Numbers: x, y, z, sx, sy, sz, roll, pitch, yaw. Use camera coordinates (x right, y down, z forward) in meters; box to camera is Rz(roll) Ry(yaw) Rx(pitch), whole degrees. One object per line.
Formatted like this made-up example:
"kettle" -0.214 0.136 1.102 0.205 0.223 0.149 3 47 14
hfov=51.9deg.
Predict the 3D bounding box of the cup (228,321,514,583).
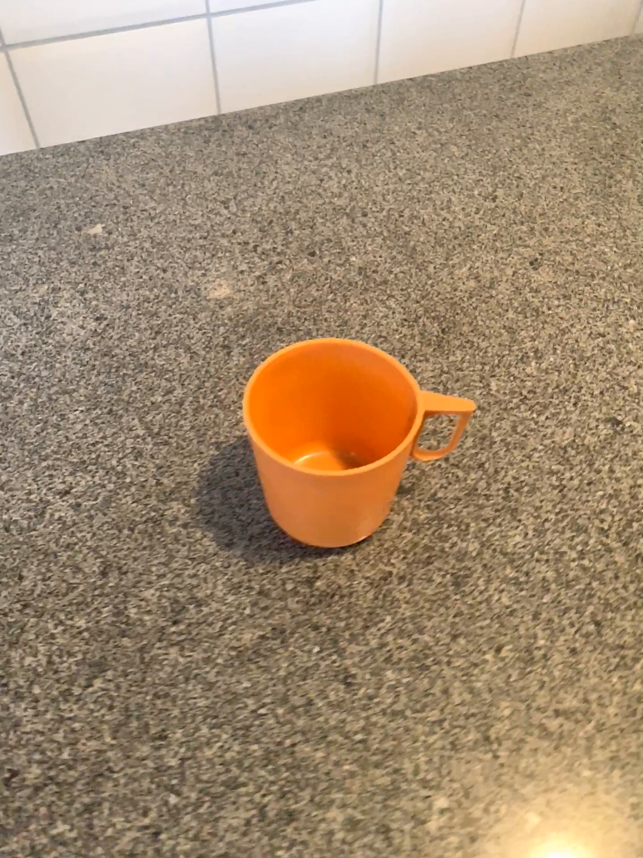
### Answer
"cup" 0.021 0.012 0.315 0.110 0.090 0.080 4 52 2
